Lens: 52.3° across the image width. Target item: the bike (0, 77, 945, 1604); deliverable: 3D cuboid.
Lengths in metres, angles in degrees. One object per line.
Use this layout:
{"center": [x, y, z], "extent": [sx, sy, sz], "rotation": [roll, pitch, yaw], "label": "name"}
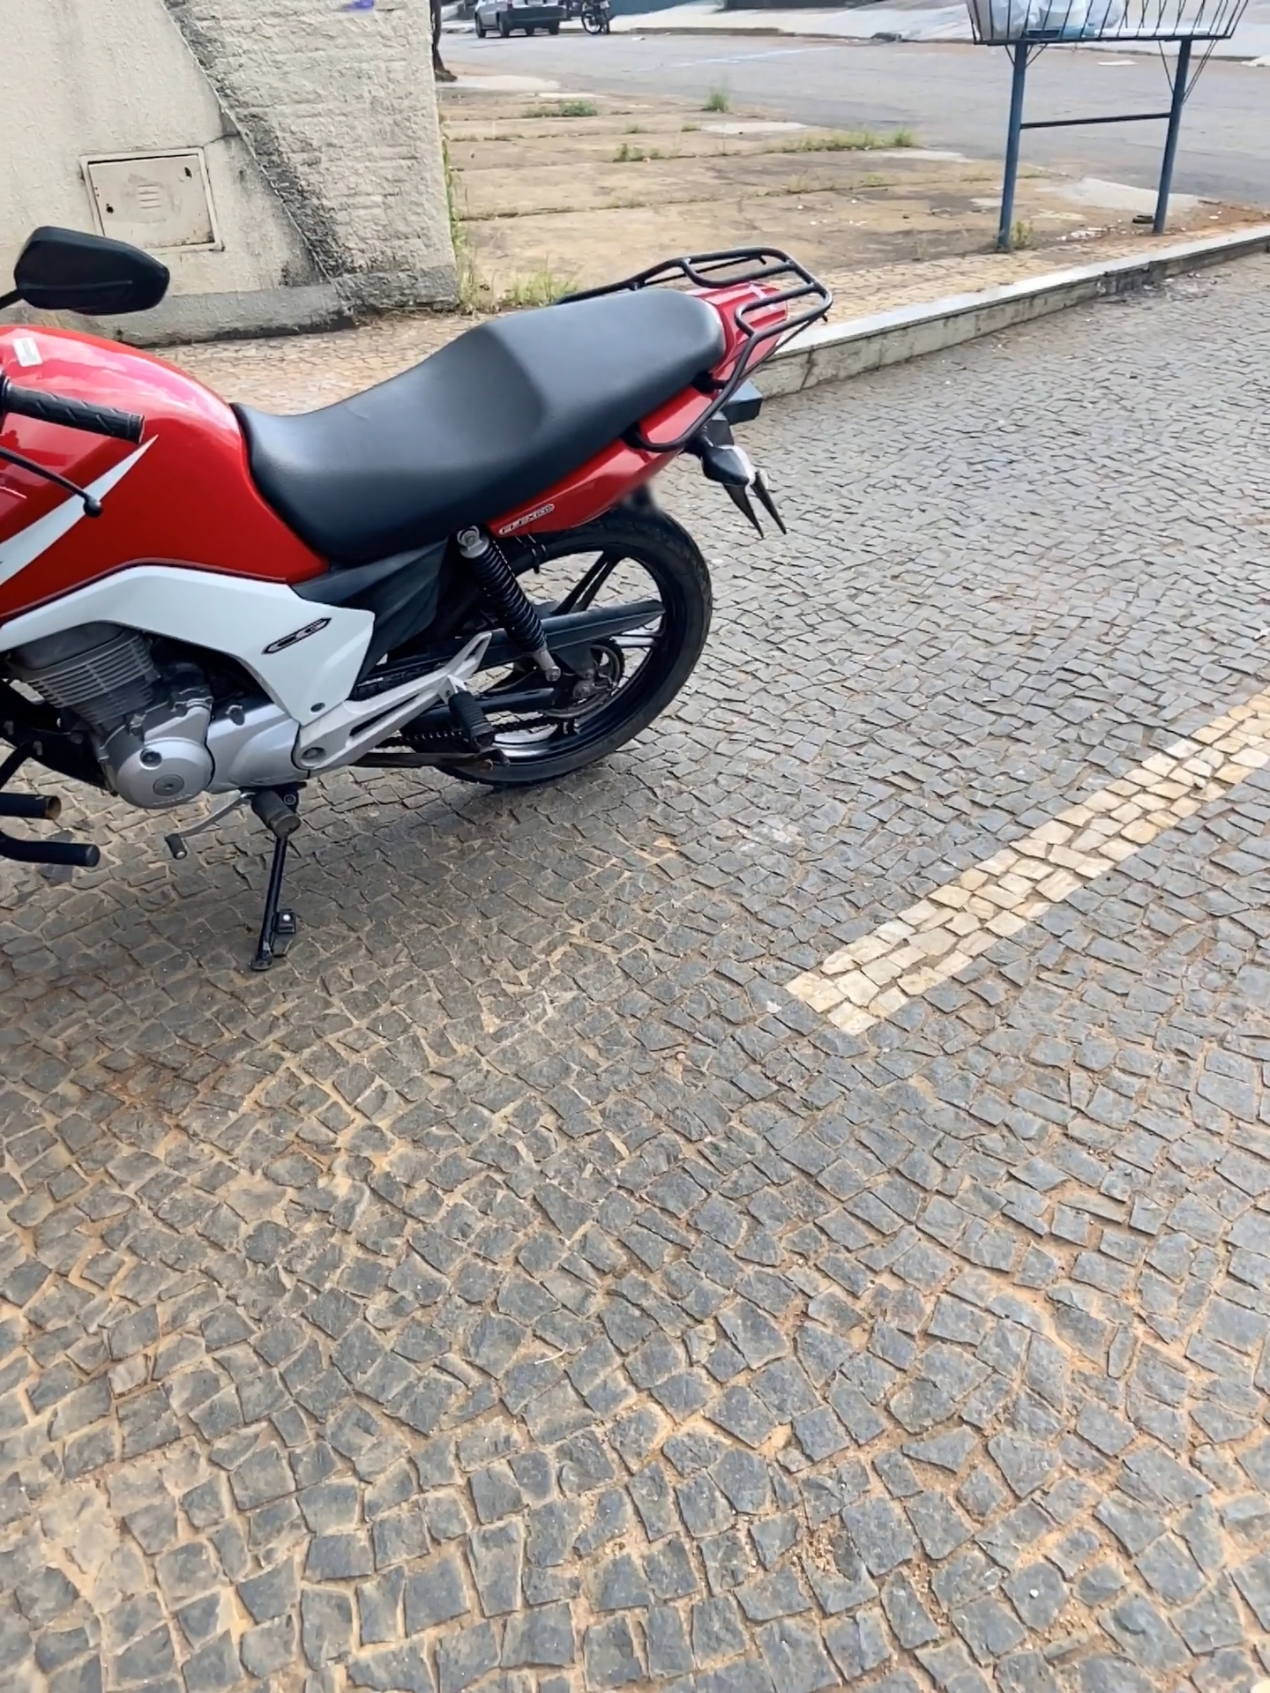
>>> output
{"center": [-0.567, -0.283, 1.914], "extent": [2.076, 1.382, 0.811], "rotation": [-26, 39, -33], "label": "bike"}
